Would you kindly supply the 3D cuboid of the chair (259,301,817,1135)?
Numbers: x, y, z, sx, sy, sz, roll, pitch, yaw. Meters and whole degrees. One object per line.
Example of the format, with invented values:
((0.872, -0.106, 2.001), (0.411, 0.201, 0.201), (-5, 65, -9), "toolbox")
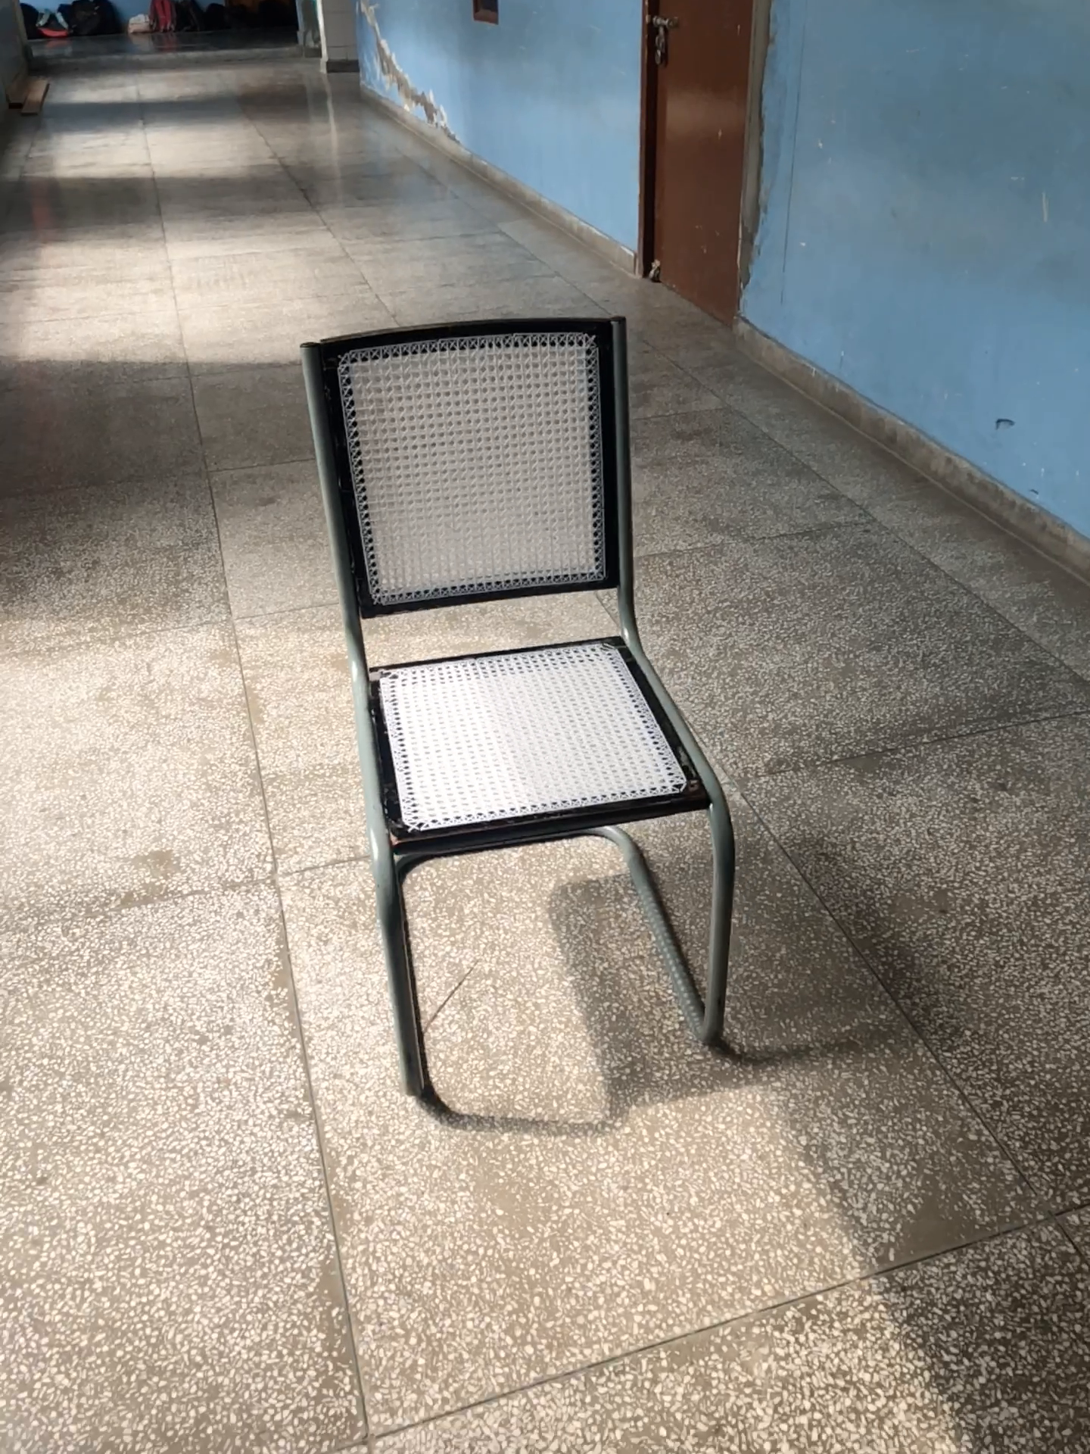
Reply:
((-0.045, -0.028, 1.521), (0.490, 0.817, 0.572), (-8, 34, -10), "chair")
